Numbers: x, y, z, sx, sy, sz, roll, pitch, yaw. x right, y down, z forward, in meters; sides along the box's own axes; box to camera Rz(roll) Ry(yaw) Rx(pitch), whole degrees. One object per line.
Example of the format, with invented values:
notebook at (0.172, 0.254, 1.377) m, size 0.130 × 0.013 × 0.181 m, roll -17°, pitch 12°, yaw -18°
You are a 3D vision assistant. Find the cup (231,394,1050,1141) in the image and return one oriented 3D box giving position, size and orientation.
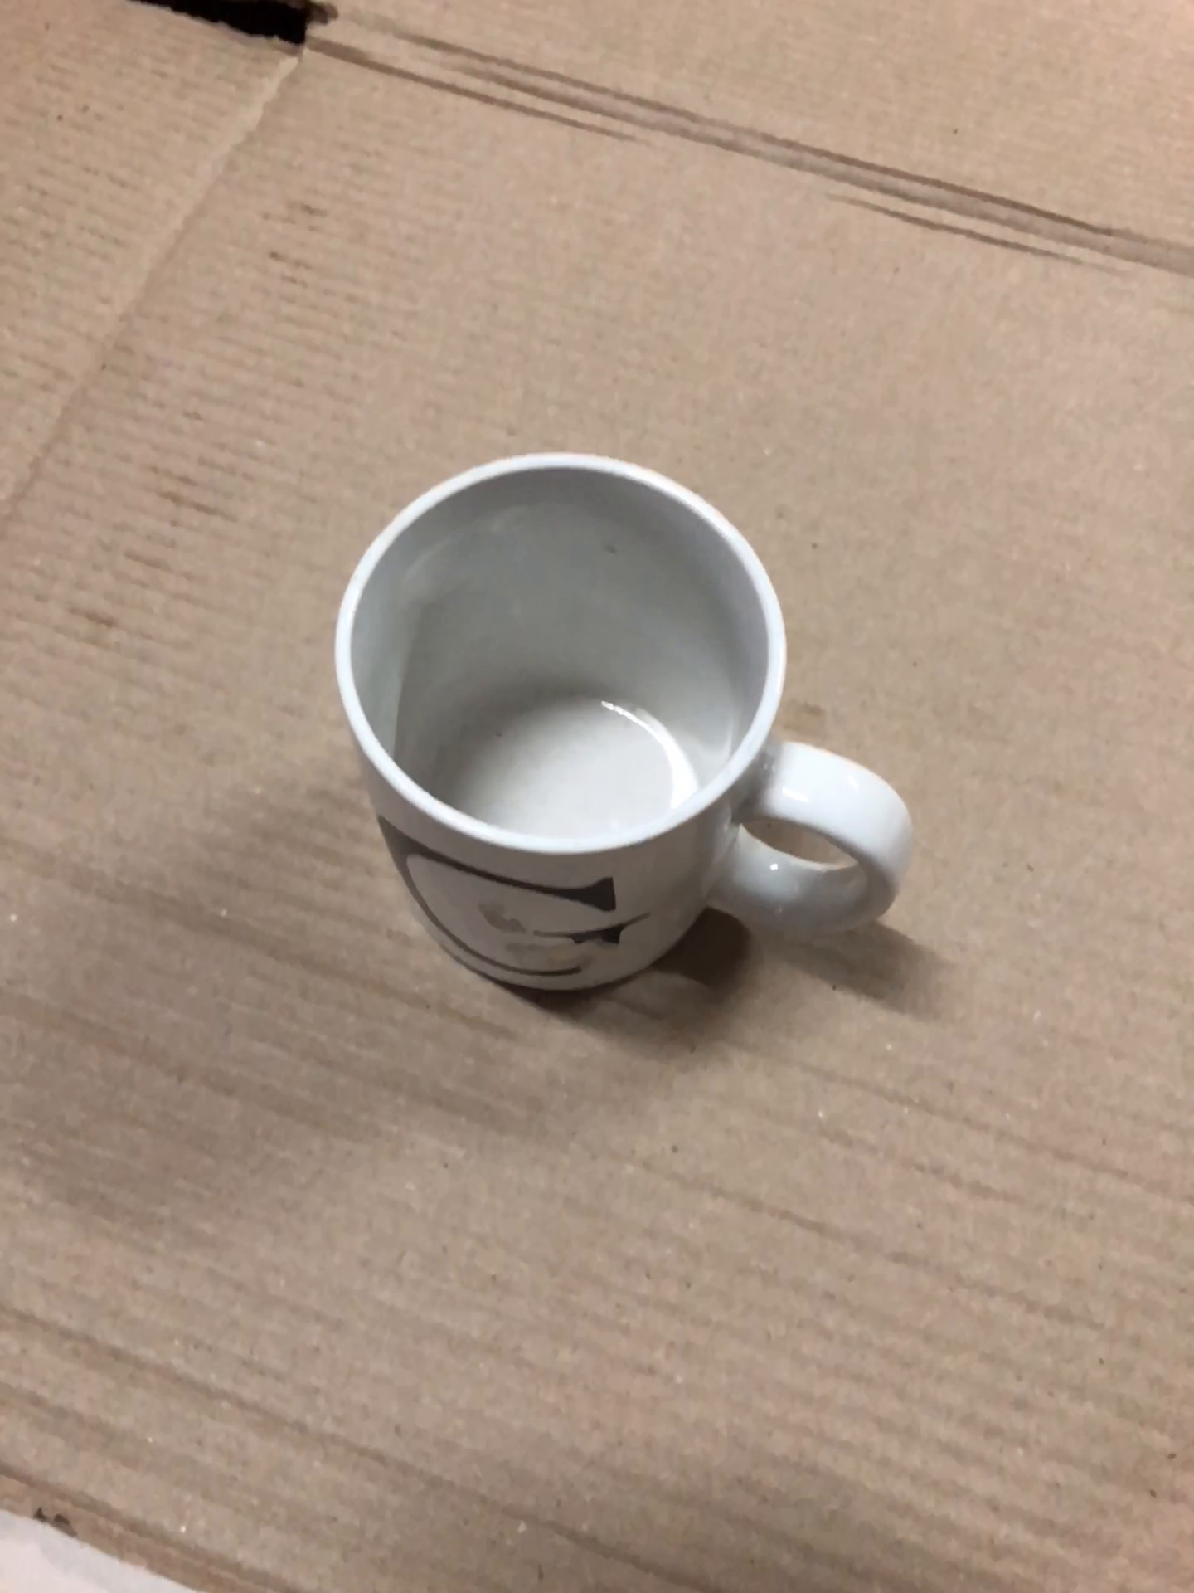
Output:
cup at (0.009, -0.003, 0.245) m, size 0.110 × 0.080 × 0.080 m, roll 17°, pitch 63°, yaw 7°
